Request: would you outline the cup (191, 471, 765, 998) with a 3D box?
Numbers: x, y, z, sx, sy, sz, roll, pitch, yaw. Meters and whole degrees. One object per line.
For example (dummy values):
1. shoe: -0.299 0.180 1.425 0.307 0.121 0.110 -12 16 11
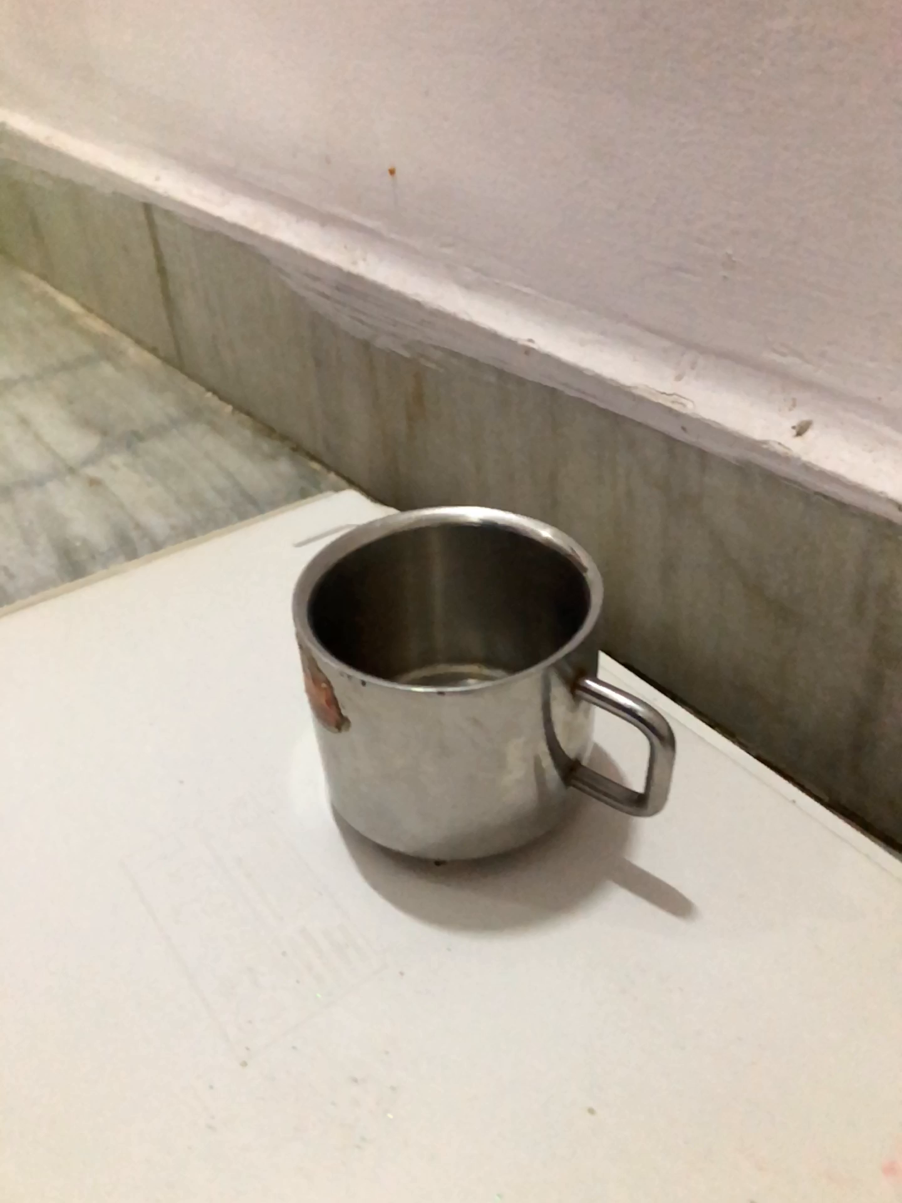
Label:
1. cup: 0.005 0.022 0.237 0.100 0.050 0.080 29 46 36
